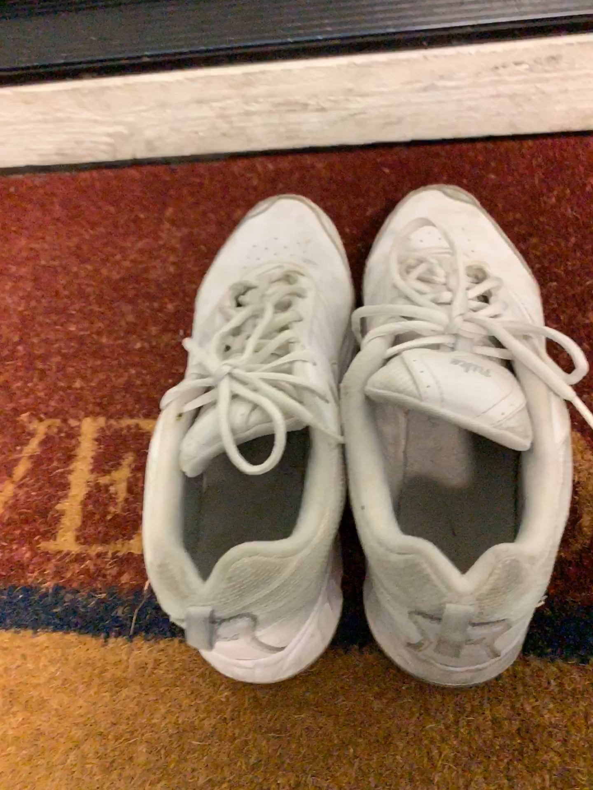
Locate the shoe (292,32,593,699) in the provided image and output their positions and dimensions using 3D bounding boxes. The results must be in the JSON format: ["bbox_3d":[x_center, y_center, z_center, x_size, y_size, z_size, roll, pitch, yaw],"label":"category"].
[{"bbox_3d":[0.077,-0.019,0.310,0.120,0.129,0.302,0,64,9],"label":"shoe"}]

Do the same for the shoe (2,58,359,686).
[{"bbox_3d":[-0.029,-0.017,0.328,0.110,0.129,0.302,0,64,9],"label":"shoe"}]
